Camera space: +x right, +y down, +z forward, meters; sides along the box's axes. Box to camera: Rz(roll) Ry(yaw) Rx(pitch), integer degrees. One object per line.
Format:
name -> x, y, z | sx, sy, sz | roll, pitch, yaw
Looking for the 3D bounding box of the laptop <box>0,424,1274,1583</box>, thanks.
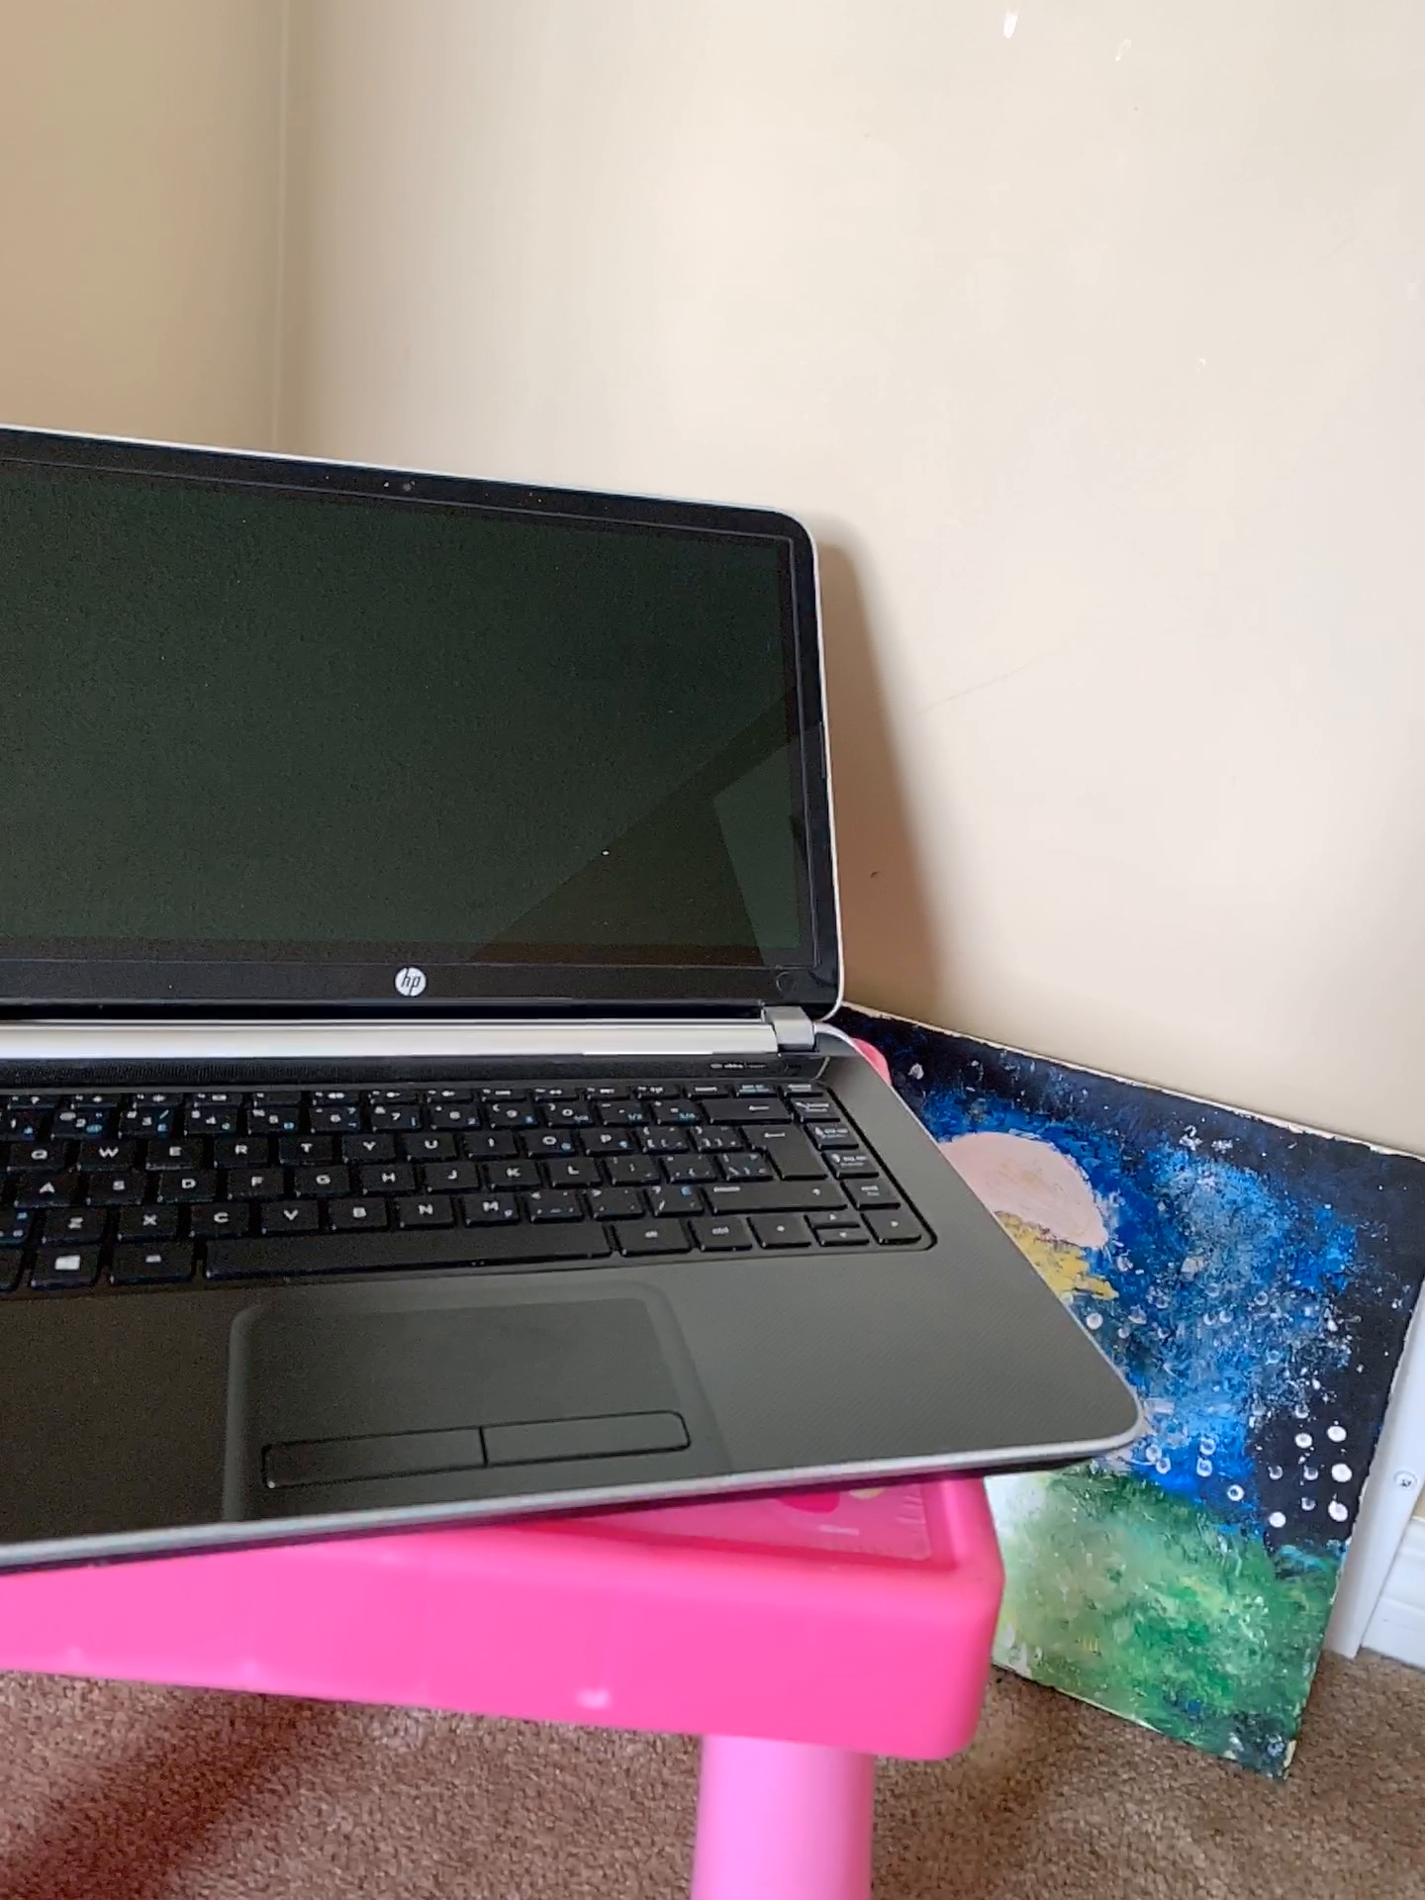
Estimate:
laptop -> -0.072, -0.023, 0.379 | 0.274, 0.161, 0.272 | 1, 24, -18
